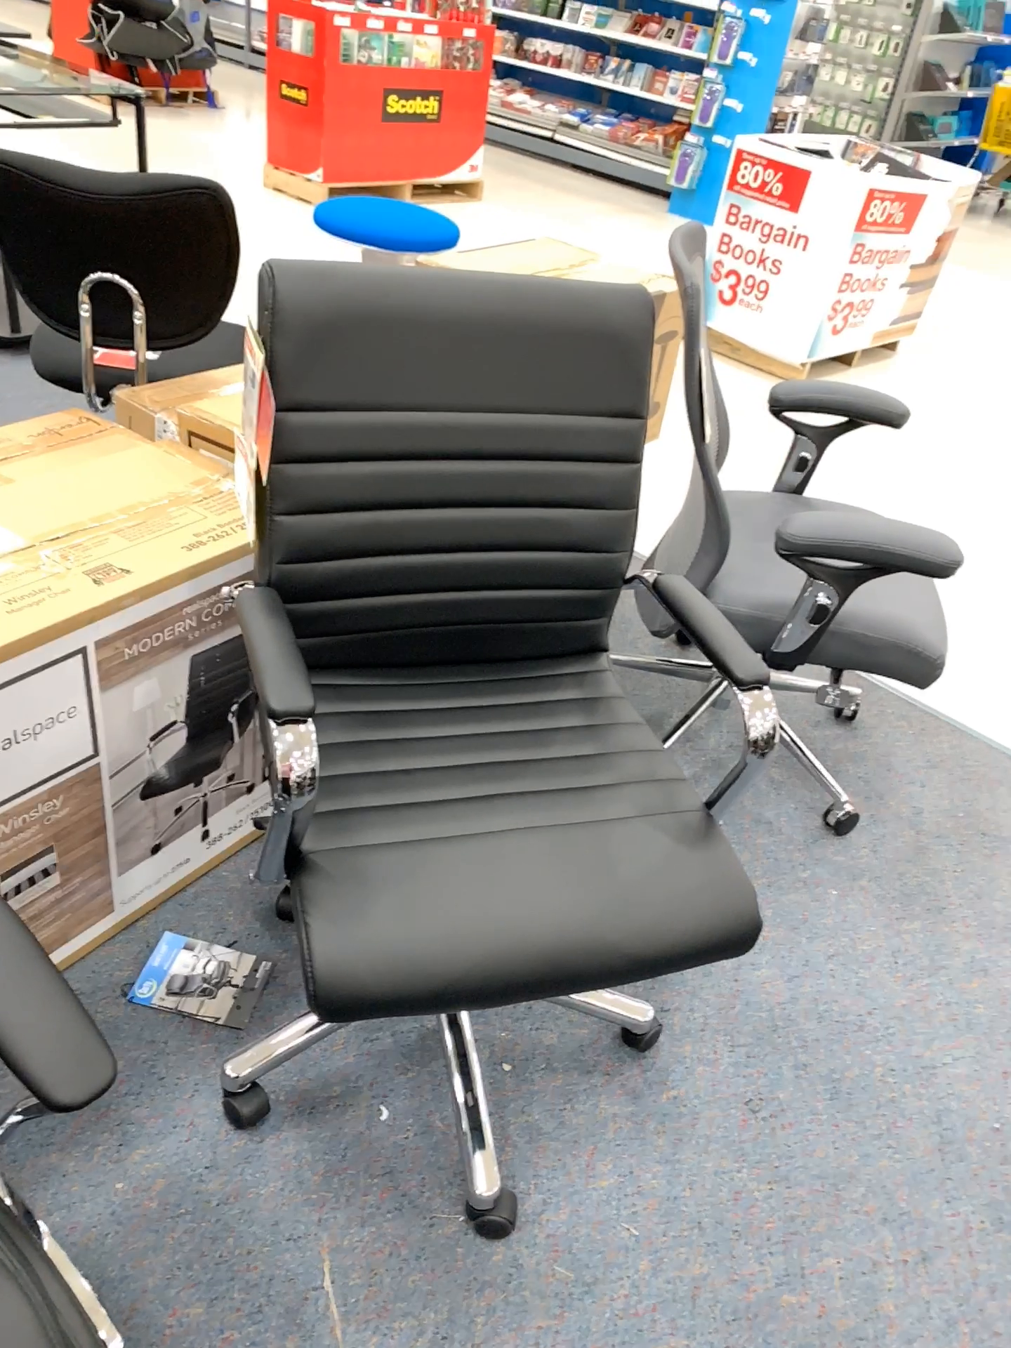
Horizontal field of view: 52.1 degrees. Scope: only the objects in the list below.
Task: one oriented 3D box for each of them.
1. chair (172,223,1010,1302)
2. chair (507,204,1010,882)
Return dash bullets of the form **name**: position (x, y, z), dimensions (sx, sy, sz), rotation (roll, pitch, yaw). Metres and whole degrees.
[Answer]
- **chair**: position (-0.015, 0.089, 1.203), dimensions (0.654, 0.953, 0.652), rotation (-3, 37, -18)
- **chair**: position (0.482, -0.267, 1.904), dimensions (0.719, 0.873, 0.738), rotation (13, 35, 4)
